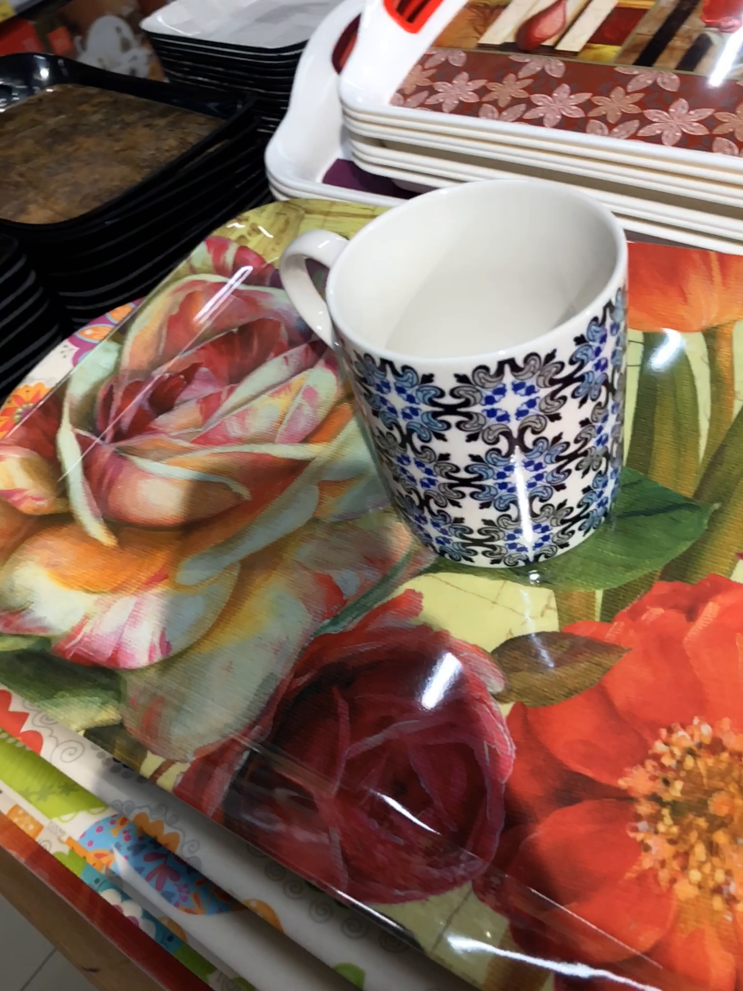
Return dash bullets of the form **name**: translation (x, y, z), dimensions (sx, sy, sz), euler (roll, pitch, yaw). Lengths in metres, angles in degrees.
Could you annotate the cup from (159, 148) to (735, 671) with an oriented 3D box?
- **cup**: translation (0.026, -0.033, 0.262), dimensions (0.130, 0.099, 0.090), euler (22, 58, 29)
